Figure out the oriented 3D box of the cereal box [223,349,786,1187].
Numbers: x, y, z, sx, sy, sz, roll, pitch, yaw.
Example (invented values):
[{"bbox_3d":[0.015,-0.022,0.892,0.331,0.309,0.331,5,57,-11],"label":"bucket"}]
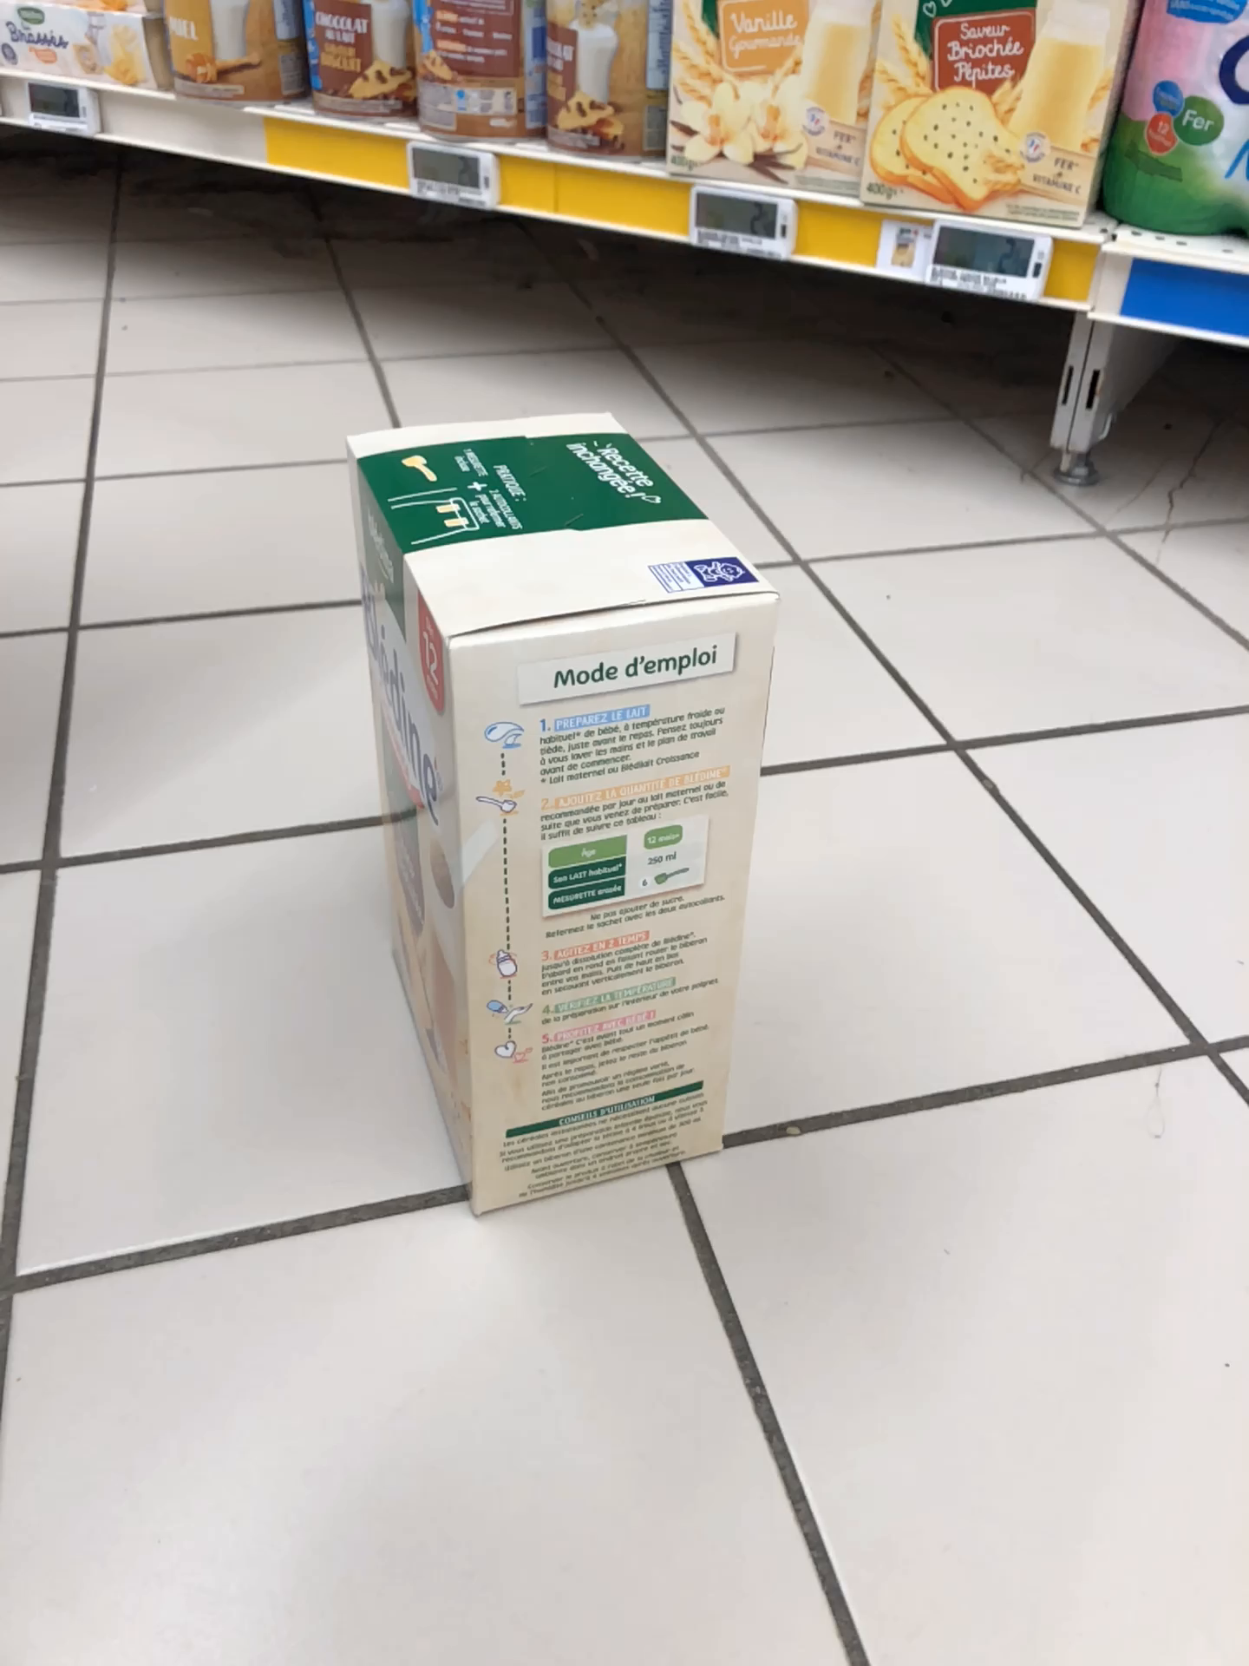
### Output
[{"bbox_3d":[-0.045,-0.026,0.434,0.120,0.199,0.151,-9,36,-16],"label":"cereal box"}]
